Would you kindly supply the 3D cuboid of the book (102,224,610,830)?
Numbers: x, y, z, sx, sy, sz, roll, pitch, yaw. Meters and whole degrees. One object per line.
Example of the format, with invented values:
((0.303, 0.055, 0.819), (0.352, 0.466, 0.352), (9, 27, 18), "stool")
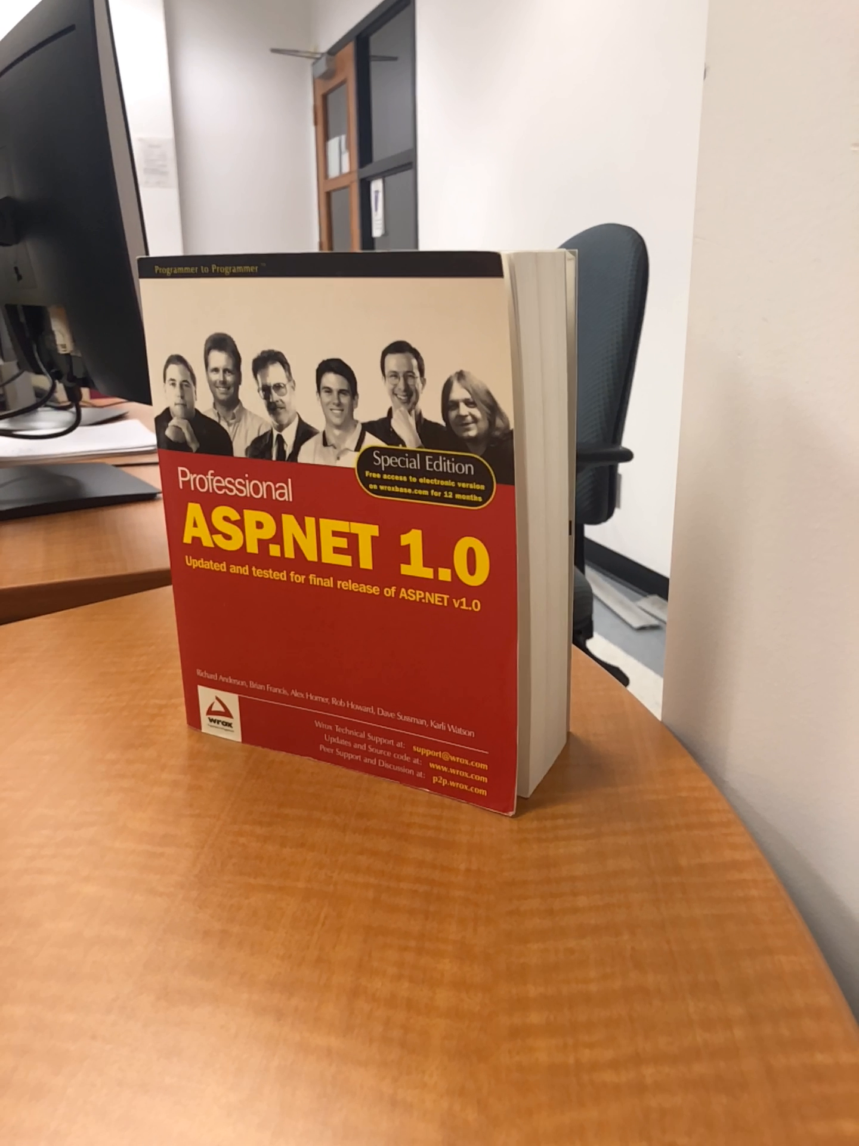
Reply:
((-0.035, -0.027, 0.416), (0.210, 0.229, 0.050), (9, 20, 27), "book")
